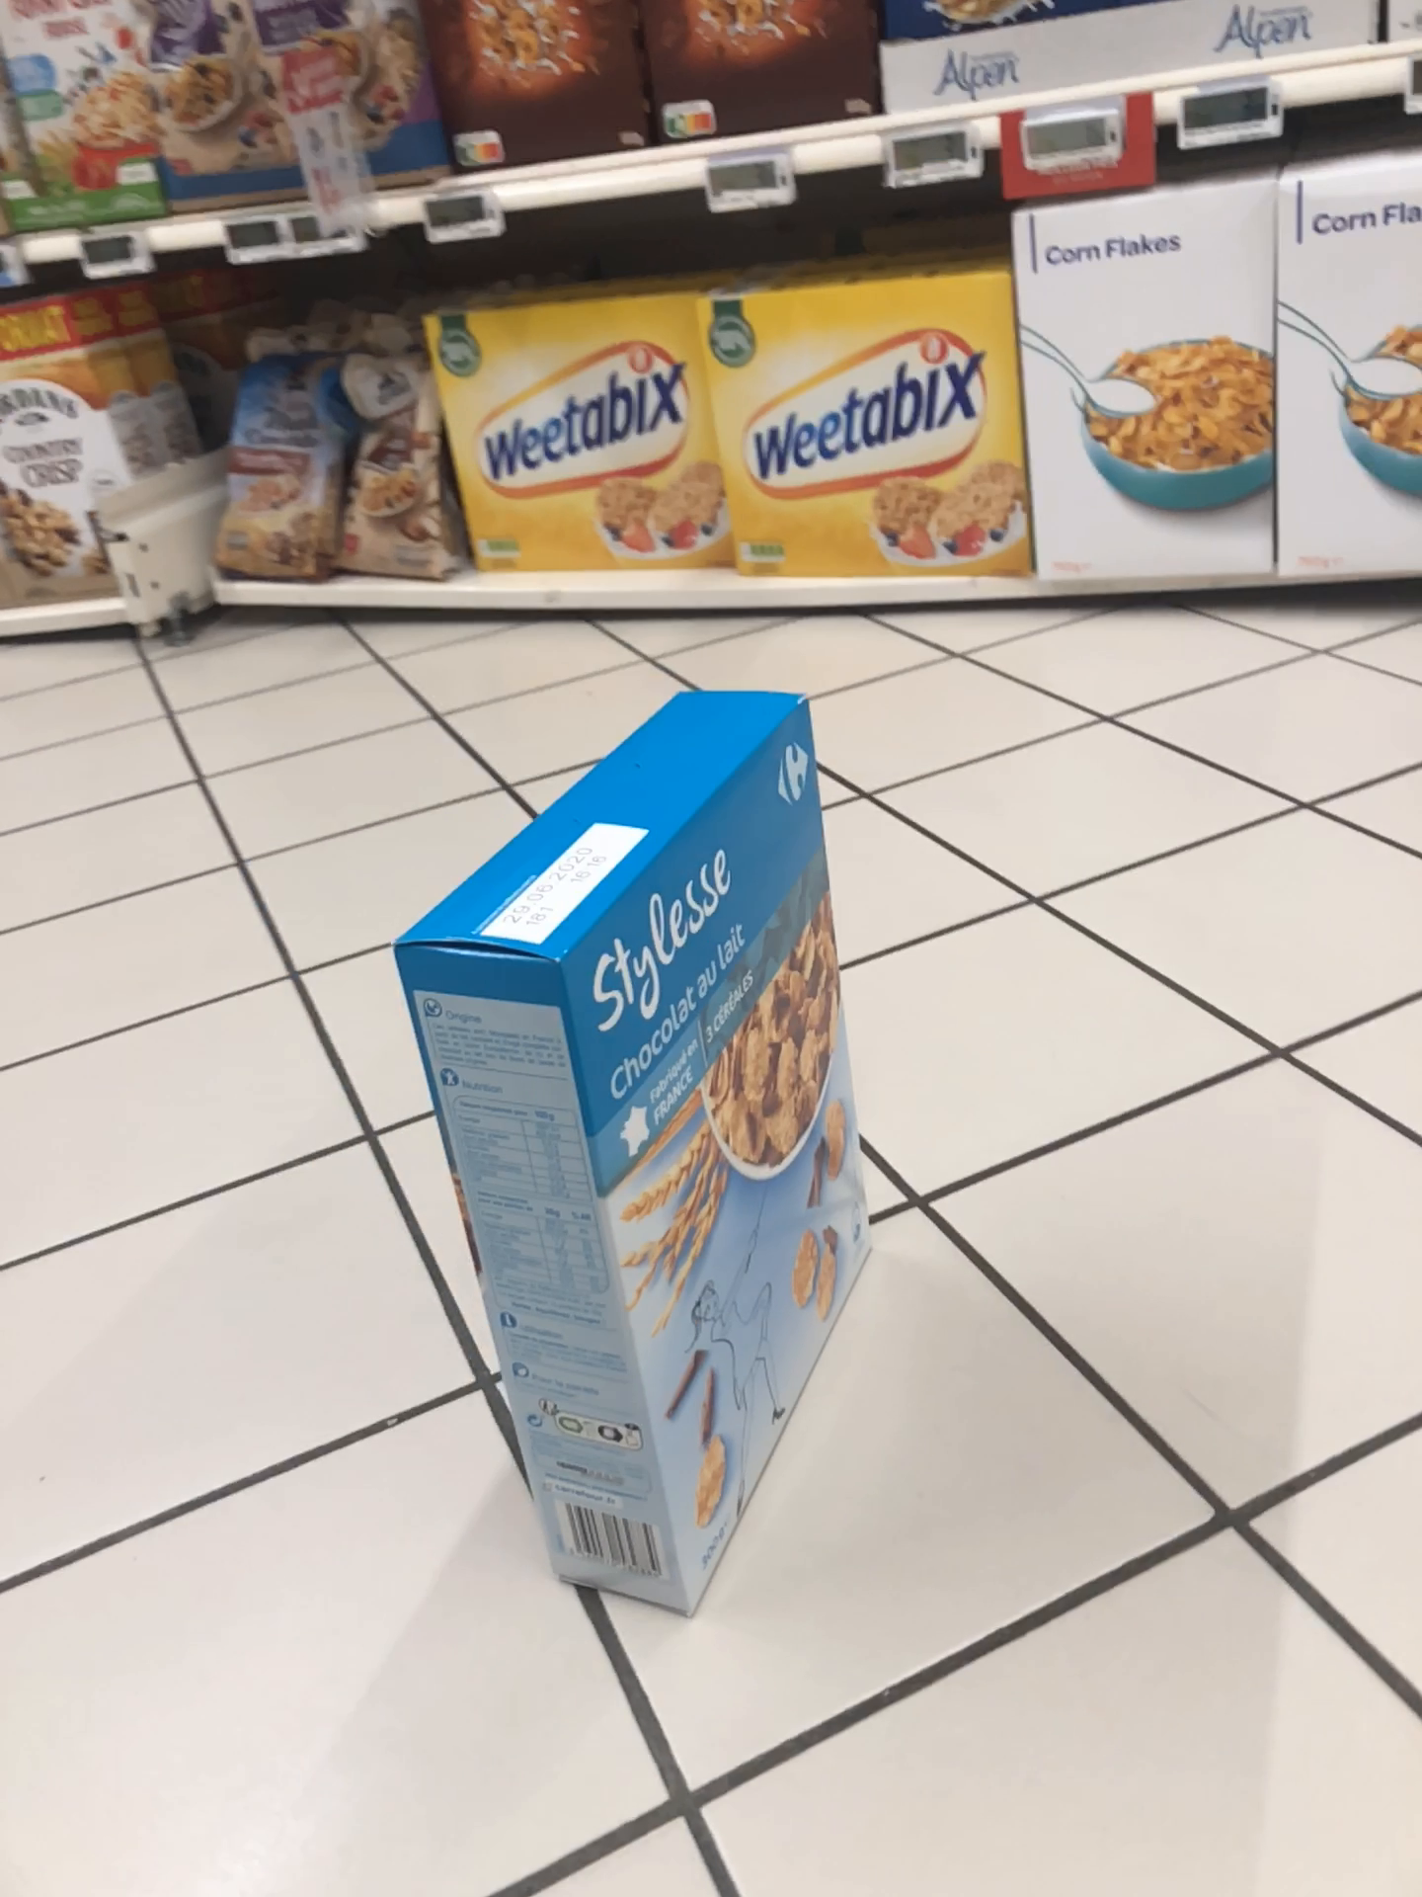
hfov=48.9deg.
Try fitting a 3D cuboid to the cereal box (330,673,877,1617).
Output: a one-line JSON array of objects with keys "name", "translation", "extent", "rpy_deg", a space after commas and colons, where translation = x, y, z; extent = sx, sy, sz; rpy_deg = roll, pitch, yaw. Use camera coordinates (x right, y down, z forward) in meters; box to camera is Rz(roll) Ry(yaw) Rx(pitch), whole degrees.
[{"name": "cereal box", "translation": [-0.016, 0.057, 0.545], "extent": [0.070, 0.249, 0.201], "rpy_deg": [4, 30, 23]}]
